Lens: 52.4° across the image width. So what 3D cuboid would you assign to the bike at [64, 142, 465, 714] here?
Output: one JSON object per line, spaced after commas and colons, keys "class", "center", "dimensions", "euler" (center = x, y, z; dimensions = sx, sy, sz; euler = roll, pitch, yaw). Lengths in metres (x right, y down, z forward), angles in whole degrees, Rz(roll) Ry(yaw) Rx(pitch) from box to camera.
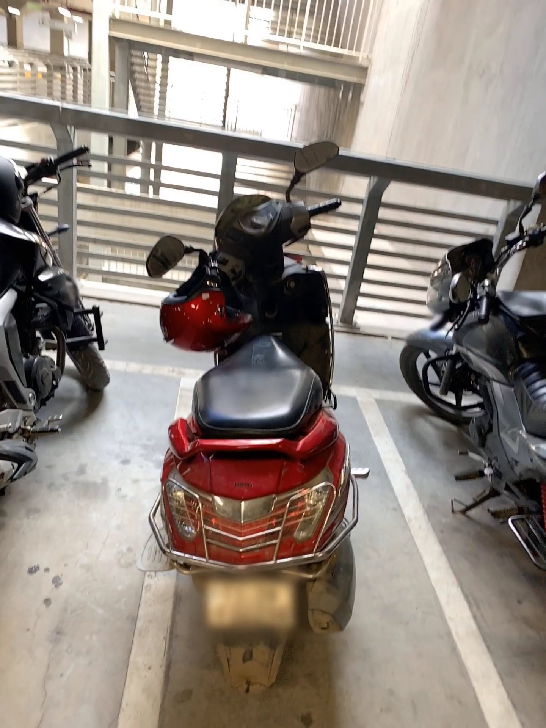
{"class": "bike", "center": [-0.163, -0.031, 2.059], "dimensions": [0.725, 1.165, 1.858], "euler": [7, 27, -8]}
